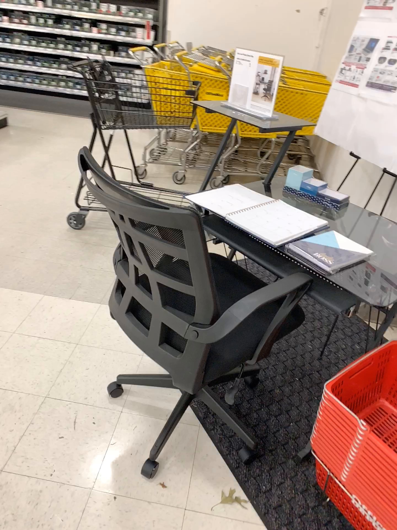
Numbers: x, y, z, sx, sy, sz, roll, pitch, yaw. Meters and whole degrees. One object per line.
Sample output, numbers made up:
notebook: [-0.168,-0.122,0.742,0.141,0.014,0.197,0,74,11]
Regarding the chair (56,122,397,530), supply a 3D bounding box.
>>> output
chair: [0.049,0.120,1.299,0.695,0.942,0.616,-20,40,-37]
